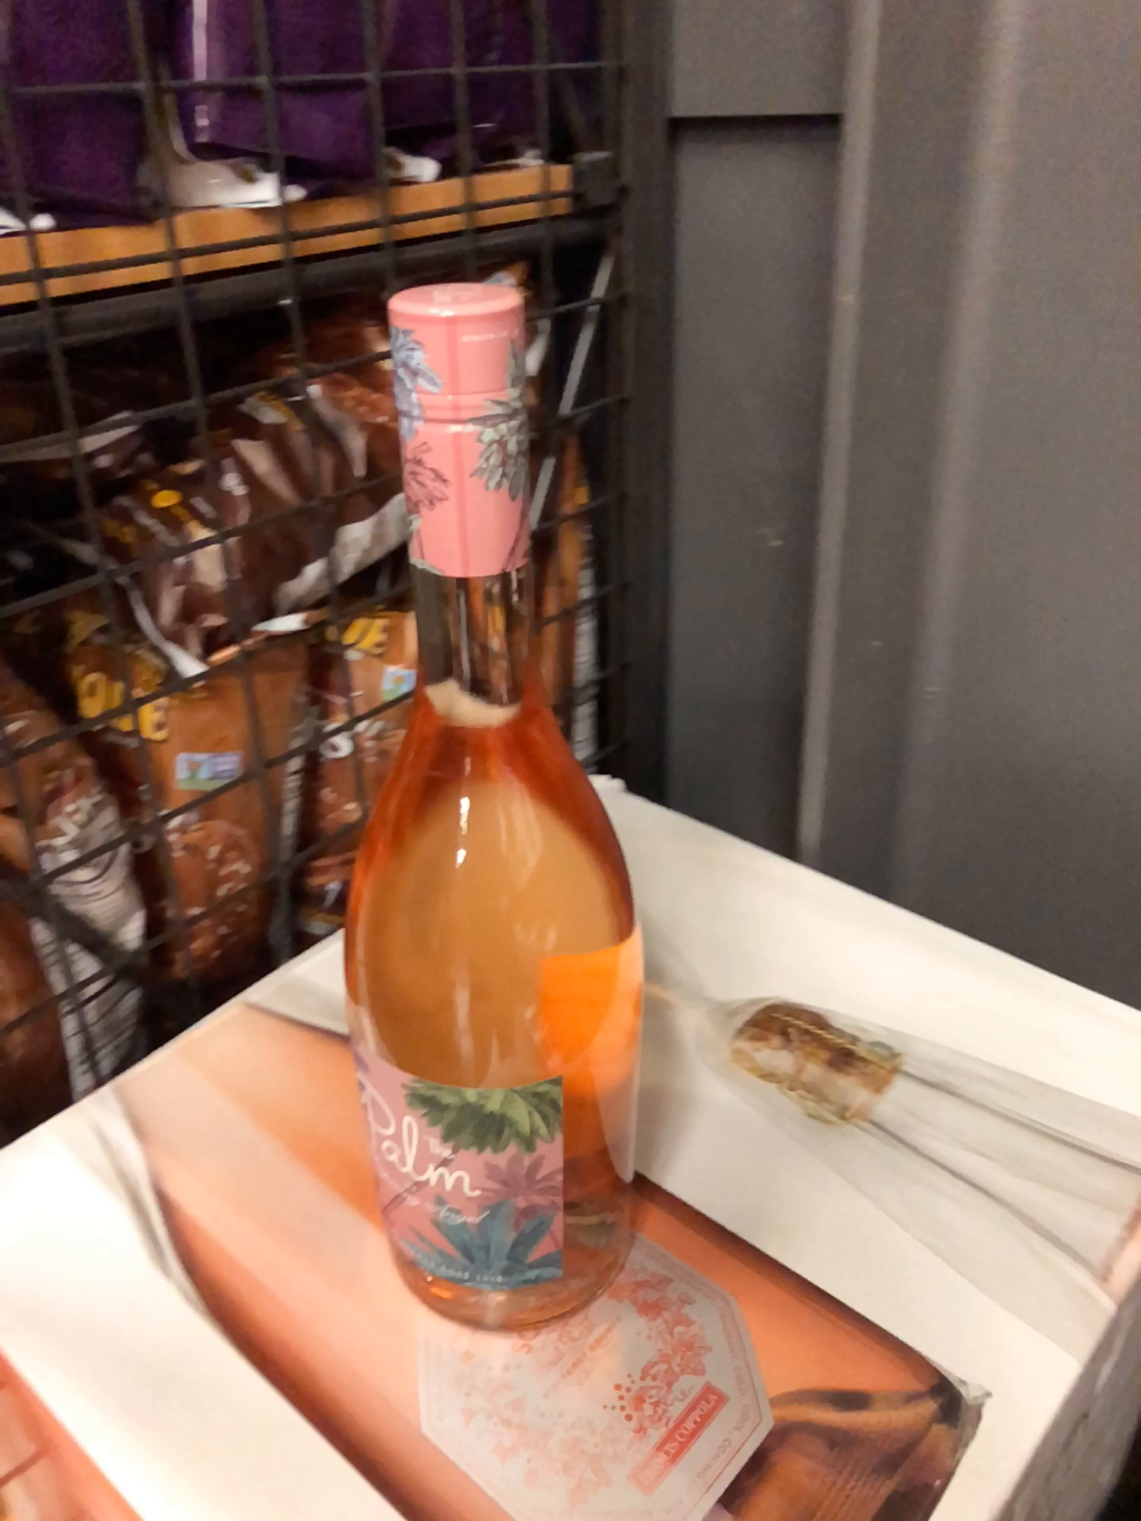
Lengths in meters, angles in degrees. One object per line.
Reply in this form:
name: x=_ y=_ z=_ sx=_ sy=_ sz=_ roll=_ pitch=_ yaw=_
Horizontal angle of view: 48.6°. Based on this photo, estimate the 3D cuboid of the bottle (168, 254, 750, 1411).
bottle: x=-0.018 y=0.024 z=0.338 sx=0.087 sy=0.285 sz=0.090 roll=-2 pitch=28 yaw=1
